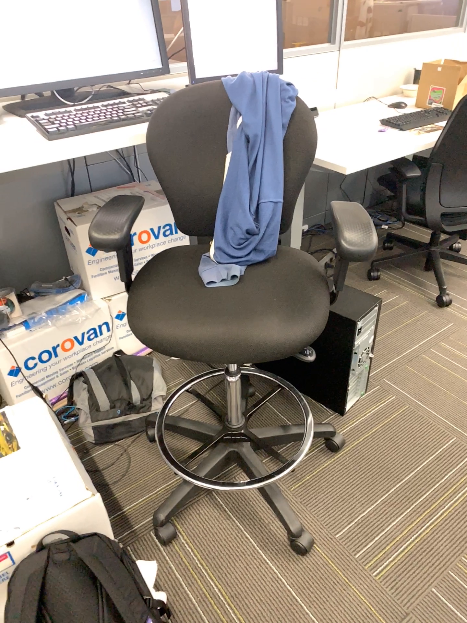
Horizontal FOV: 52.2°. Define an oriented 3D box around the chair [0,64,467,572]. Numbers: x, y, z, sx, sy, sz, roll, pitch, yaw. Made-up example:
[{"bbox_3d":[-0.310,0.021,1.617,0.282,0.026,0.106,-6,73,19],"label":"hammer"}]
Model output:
[{"bbox_3d":[0.003,0.016,1.283,0.750,1.103,0.745,-3,34,-1],"label":"chair"}]
